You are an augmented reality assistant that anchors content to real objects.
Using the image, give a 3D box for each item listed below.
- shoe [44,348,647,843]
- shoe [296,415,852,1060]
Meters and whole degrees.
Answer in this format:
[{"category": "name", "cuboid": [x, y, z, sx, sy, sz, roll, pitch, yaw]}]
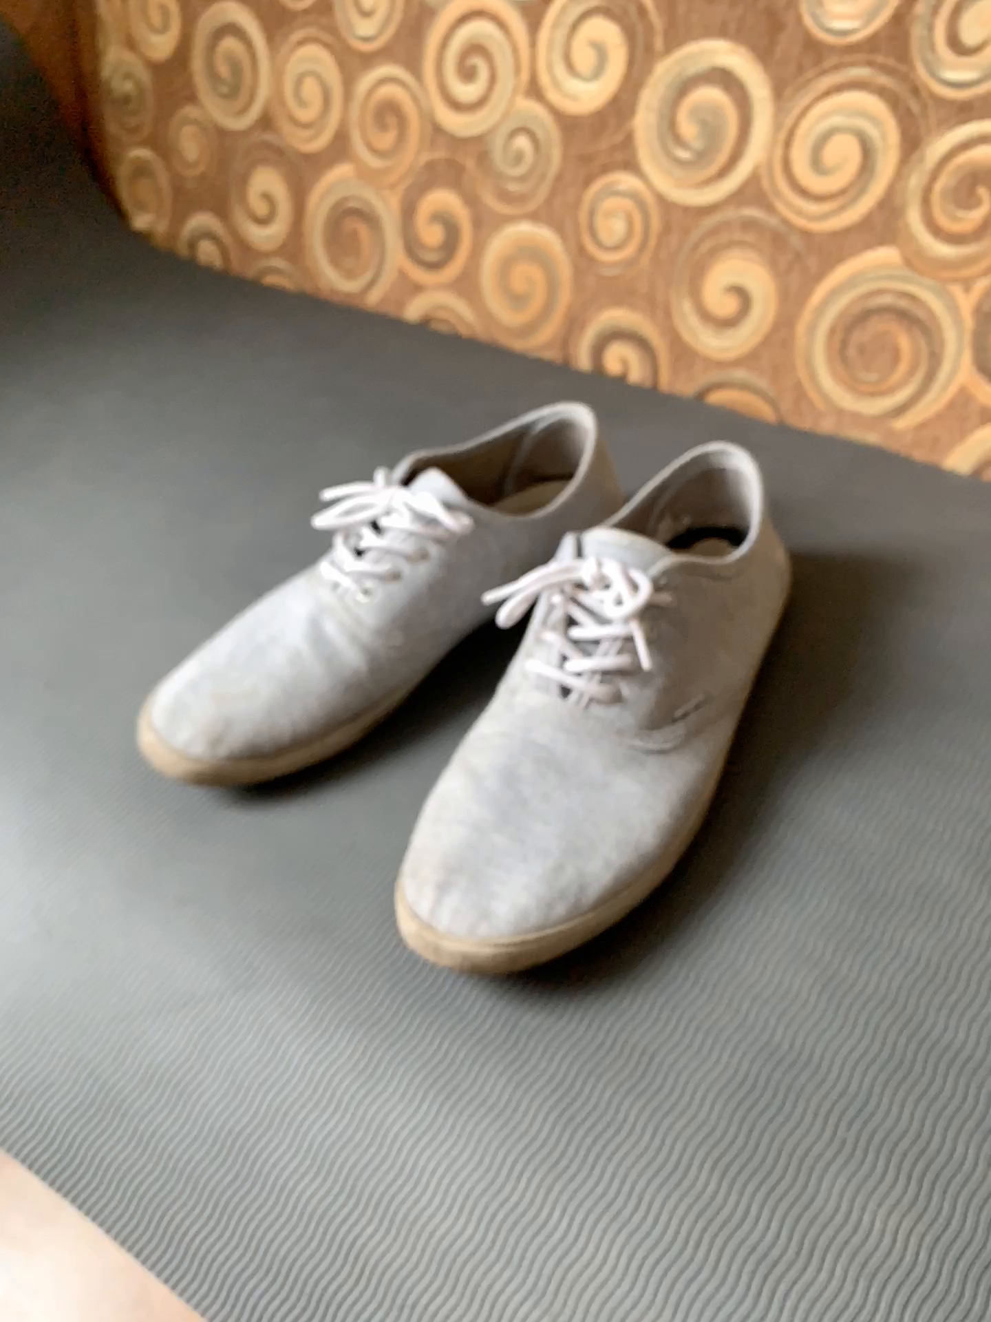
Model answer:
[{"category": "shoe", "cuboid": [-0.059, -0.044, 0.500, 0.260, 0.080, 0.110, -34, 50, -22]}, {"category": "shoe", "cuboid": [0.048, 0.011, 0.434, 0.110, 0.080, 0.261, 19, 52, 25]}]
